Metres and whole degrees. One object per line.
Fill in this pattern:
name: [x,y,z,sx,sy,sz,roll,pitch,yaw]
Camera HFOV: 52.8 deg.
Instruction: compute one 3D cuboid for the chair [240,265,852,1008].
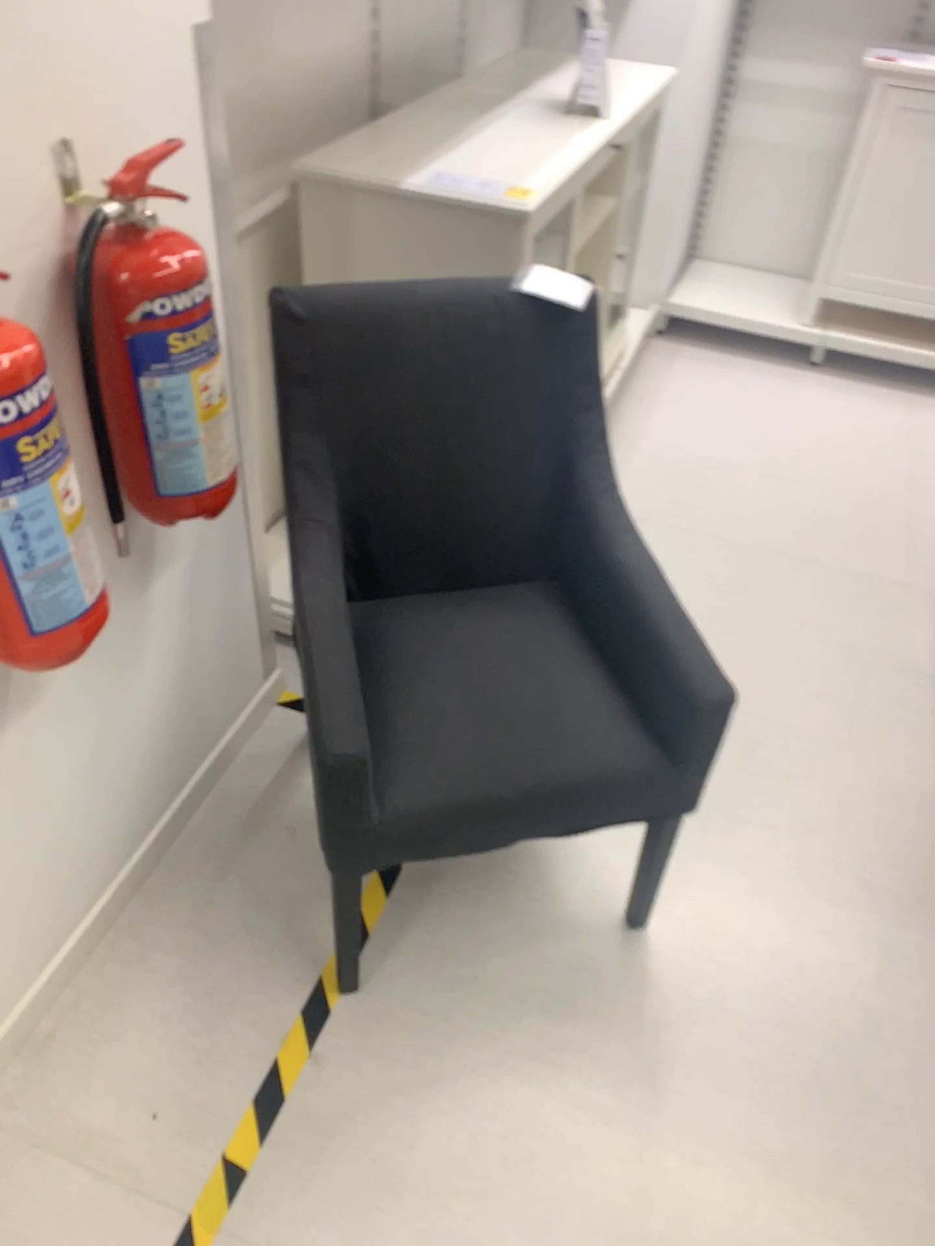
chair: [0.019,0.019,1.486,0.610,0.916,0.632,-7,42,-13]
